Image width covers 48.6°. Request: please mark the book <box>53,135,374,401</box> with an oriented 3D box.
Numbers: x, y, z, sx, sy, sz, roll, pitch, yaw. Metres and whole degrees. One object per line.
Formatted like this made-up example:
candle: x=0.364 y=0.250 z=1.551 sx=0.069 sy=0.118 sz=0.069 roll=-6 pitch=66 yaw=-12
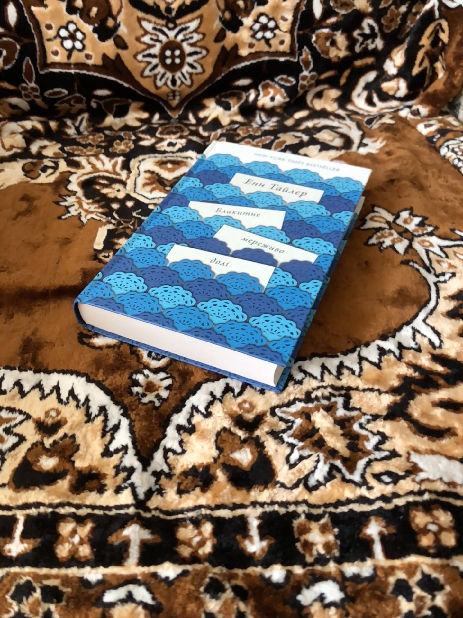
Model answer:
book: x=0.004 y=-0.054 z=0.388 sx=0.154 sy=0.030 sz=0.234 roll=16 pitch=47 yaw=17
